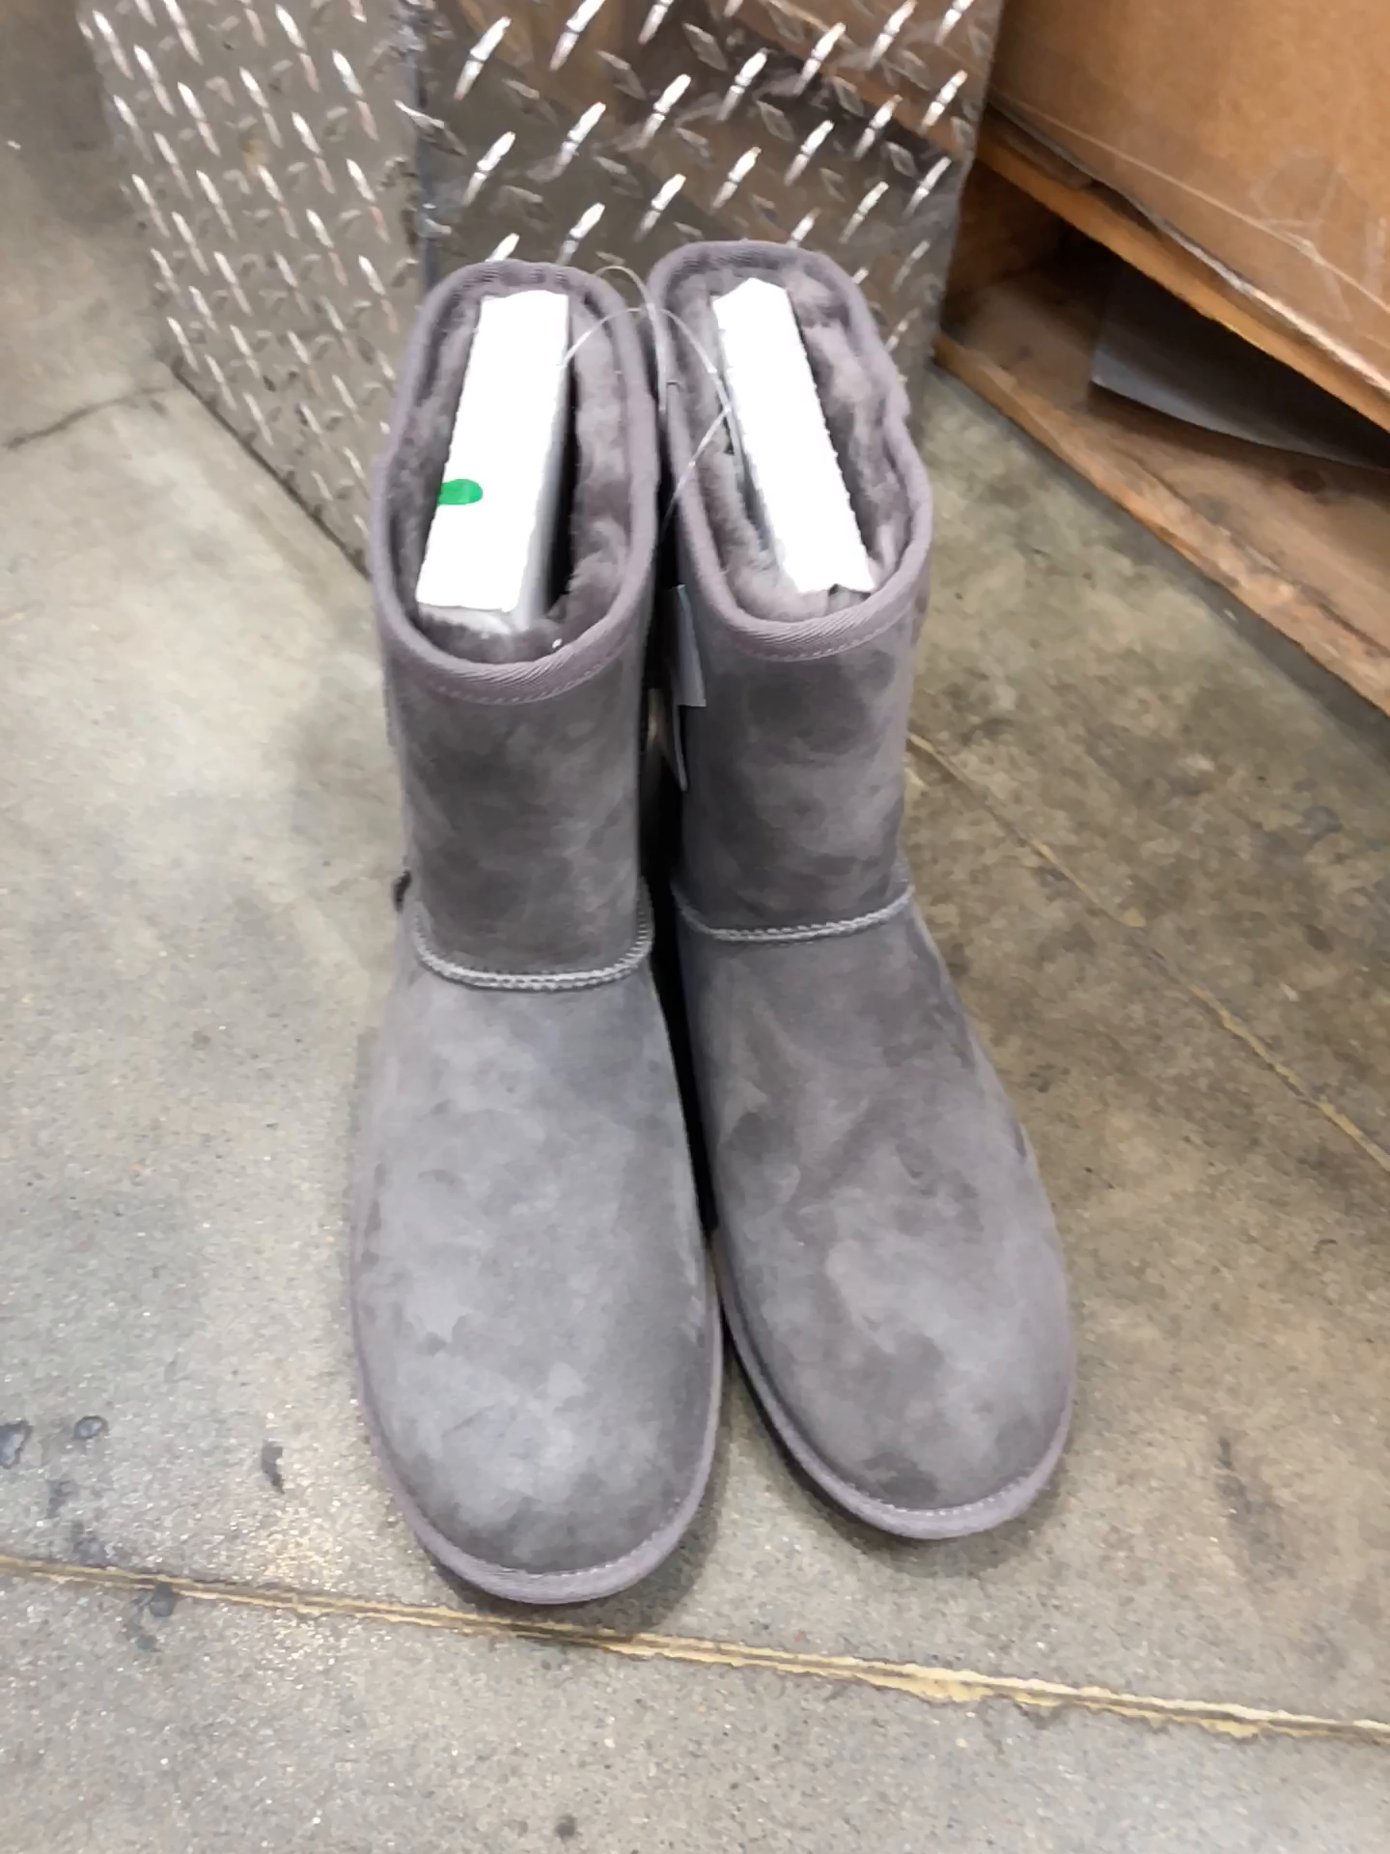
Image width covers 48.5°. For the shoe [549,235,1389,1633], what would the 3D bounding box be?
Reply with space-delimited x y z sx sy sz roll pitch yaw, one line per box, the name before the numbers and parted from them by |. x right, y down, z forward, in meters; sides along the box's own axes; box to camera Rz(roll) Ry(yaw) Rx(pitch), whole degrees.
shoe | 0.043 0.007 0.411 0.110 0.240 0.270 -10 55 -11

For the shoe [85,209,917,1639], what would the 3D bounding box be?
shoe | -0.046 0.004 0.402 0.120 0.240 0.281 -2 54 -6
